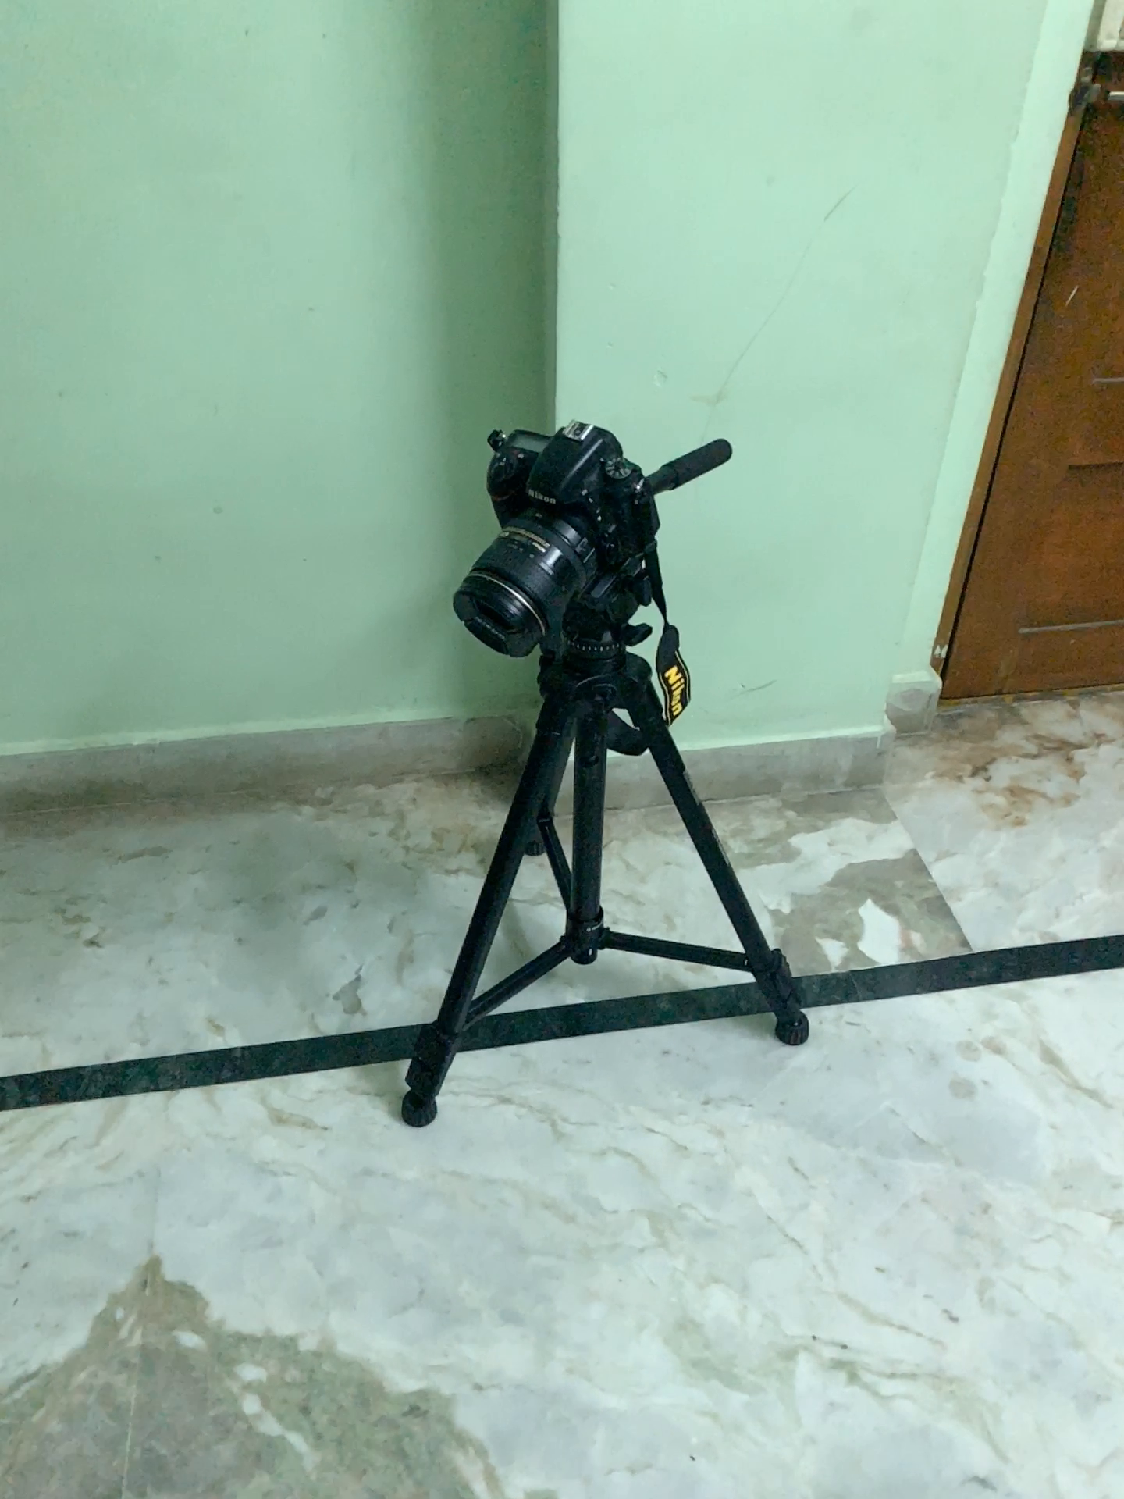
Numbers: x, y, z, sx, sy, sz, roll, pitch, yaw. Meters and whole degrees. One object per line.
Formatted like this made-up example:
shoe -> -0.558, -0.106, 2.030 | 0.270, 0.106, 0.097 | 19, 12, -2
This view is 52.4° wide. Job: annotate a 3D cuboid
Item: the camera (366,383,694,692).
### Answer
camera -> -0.021, -0.175, 0.923 | 0.170, 0.110, 0.180 | 26, 68, 29
